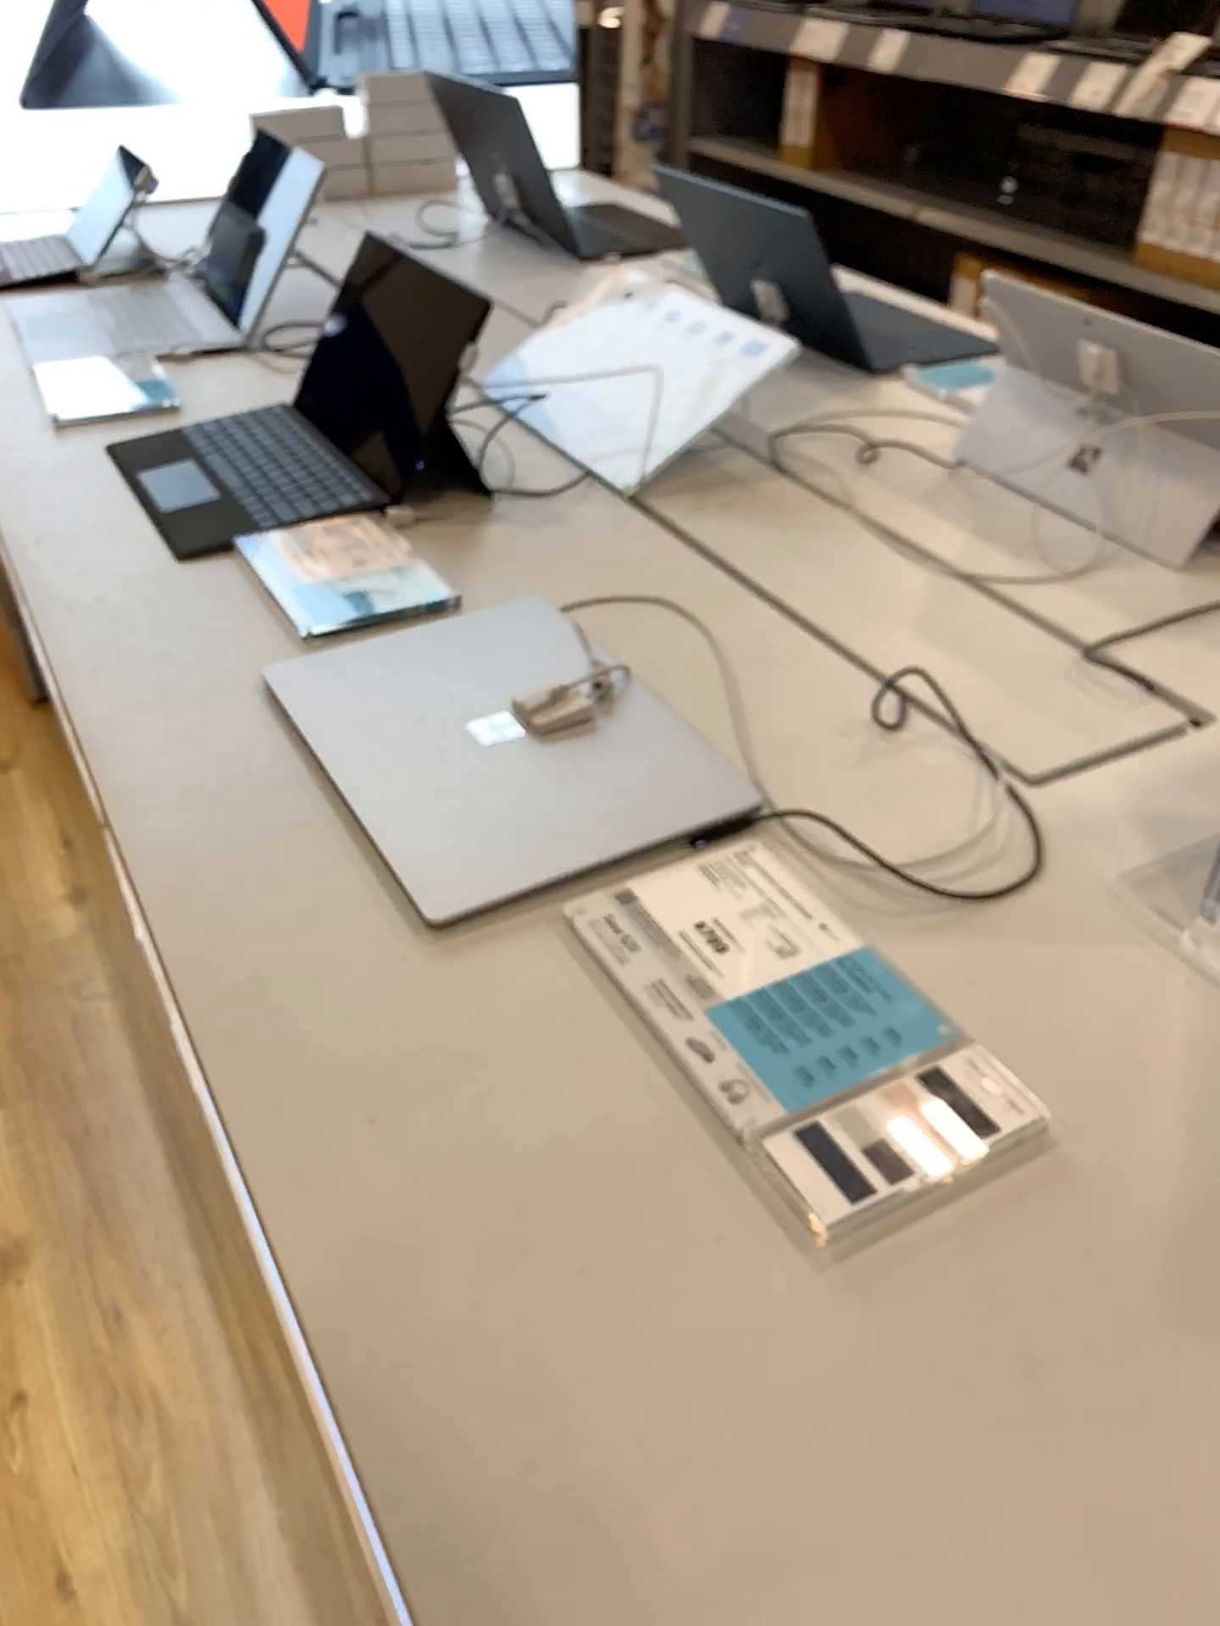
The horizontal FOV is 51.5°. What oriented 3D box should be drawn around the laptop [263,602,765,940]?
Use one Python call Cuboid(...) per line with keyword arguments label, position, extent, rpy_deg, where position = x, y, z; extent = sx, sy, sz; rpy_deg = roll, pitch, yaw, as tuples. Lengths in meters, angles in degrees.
Cuboid(label="laptop", position=(-0.075, -0.047, 0.834), extent=(0.220, 0.008, 0.298), rpy_deg=(-19, 42, -23))
